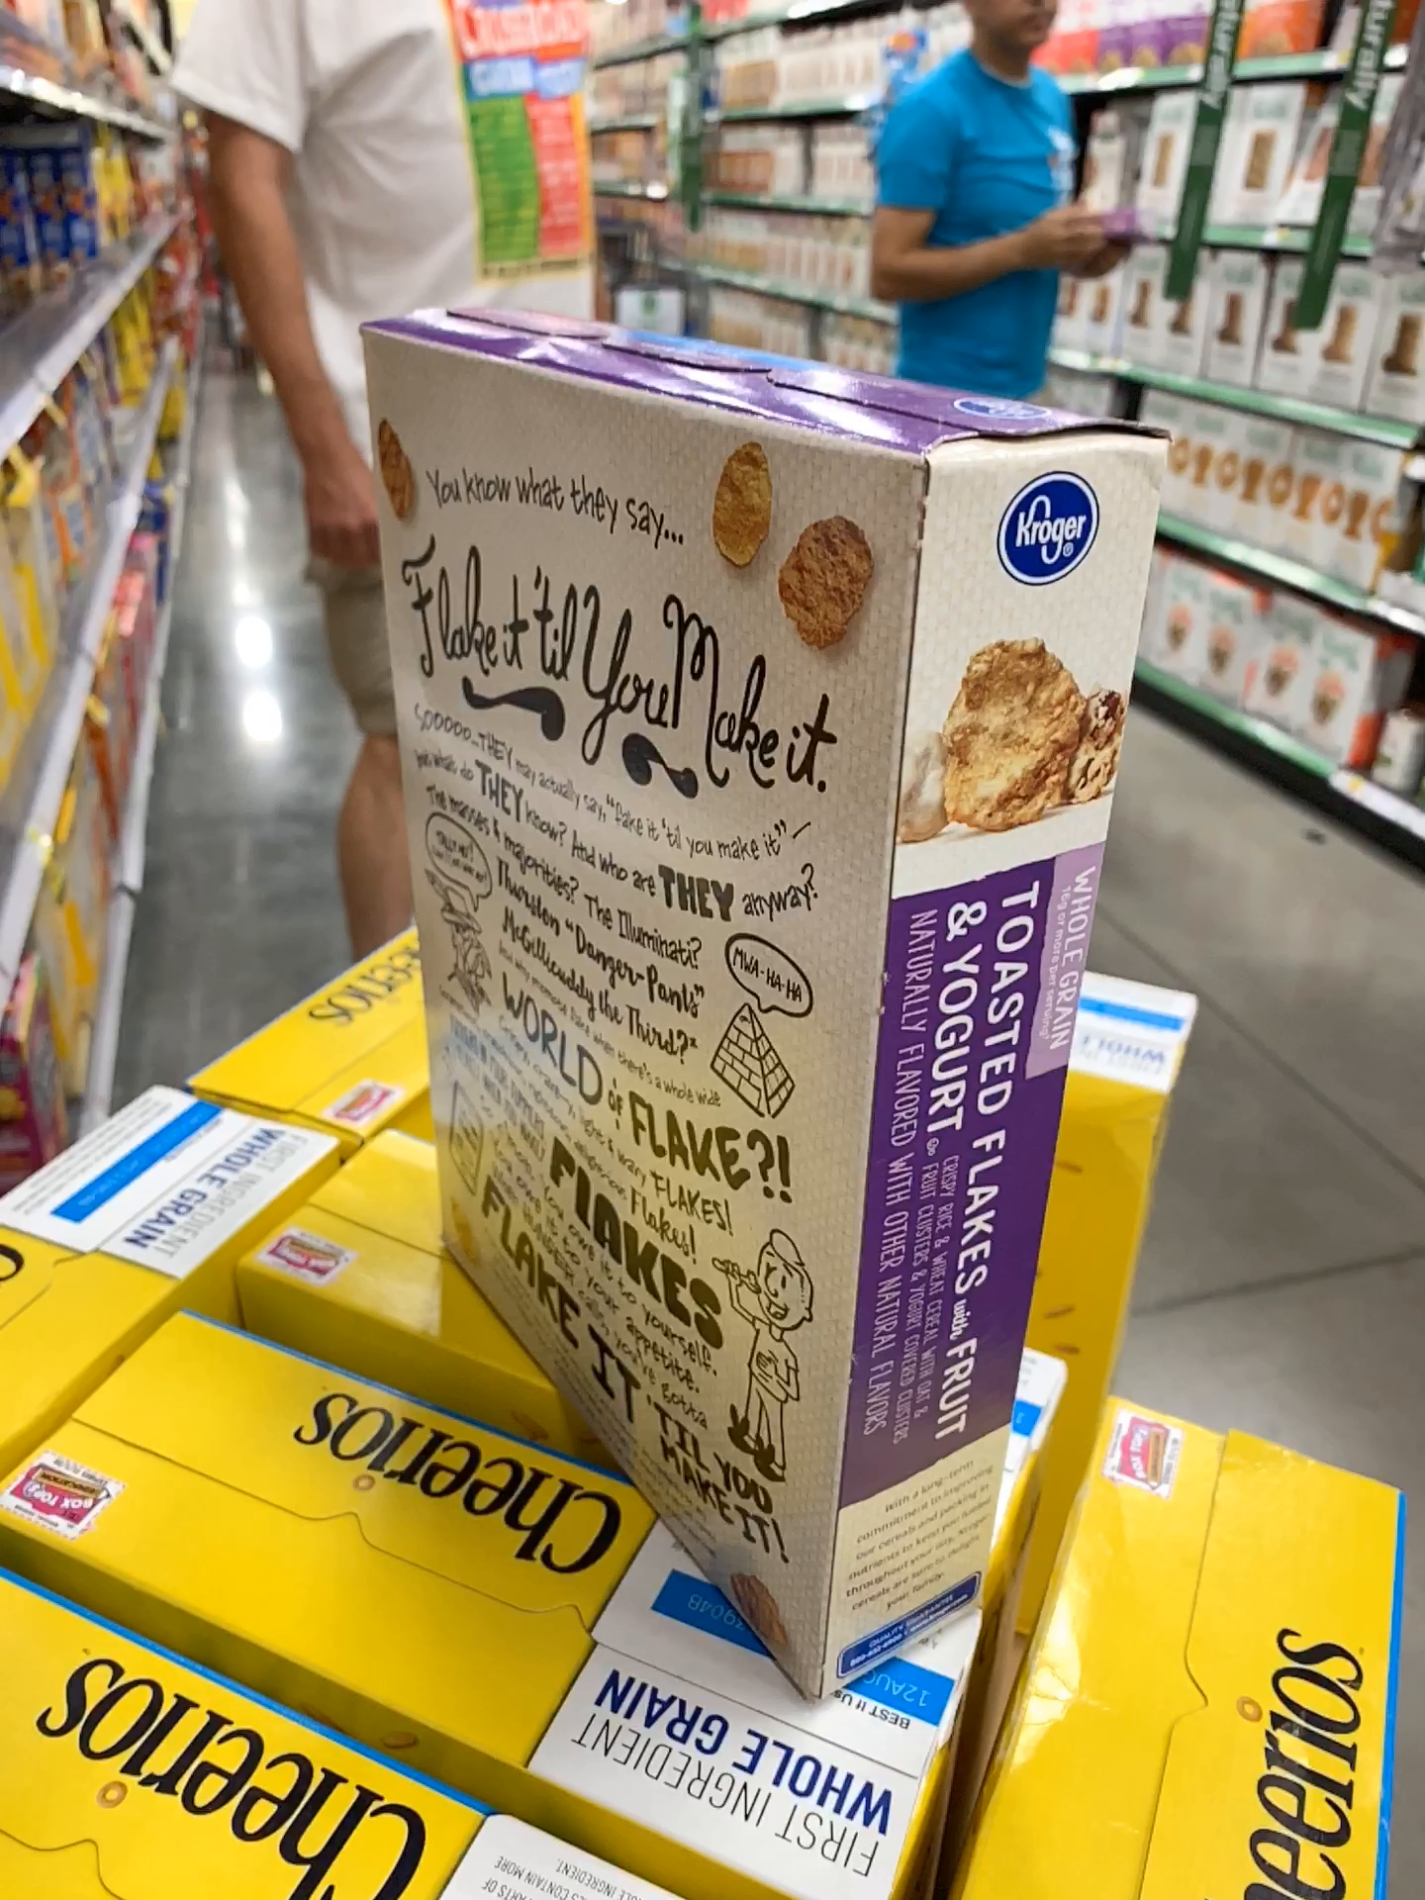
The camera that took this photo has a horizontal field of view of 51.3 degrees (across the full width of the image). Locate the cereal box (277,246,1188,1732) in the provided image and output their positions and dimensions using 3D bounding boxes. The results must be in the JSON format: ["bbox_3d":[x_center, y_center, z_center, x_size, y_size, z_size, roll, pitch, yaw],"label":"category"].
[{"bbox_3d":[-0.017,-0.004,0.333,0.060,0.269,0.201,-17,33,-32],"label":"cereal box"}]
